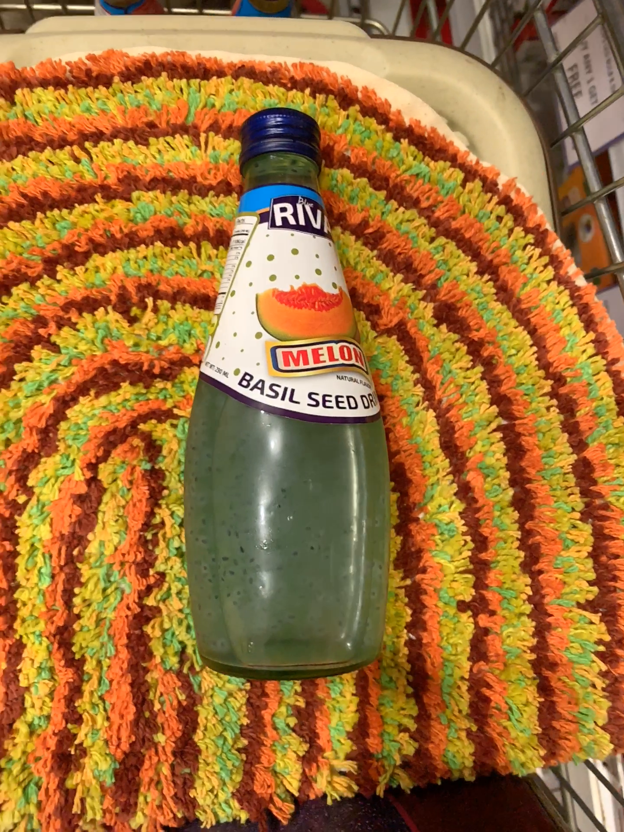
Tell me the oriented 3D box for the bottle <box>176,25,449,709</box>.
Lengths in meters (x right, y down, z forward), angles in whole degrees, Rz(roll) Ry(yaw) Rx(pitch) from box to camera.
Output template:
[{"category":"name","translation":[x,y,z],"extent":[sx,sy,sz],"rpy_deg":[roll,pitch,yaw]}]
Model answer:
[{"category":"bottle","translation":[-0.004,-0.014,0.206],"extent":[0.060,0.060,0.180],"rpy_deg":[4,80,-26]}]
